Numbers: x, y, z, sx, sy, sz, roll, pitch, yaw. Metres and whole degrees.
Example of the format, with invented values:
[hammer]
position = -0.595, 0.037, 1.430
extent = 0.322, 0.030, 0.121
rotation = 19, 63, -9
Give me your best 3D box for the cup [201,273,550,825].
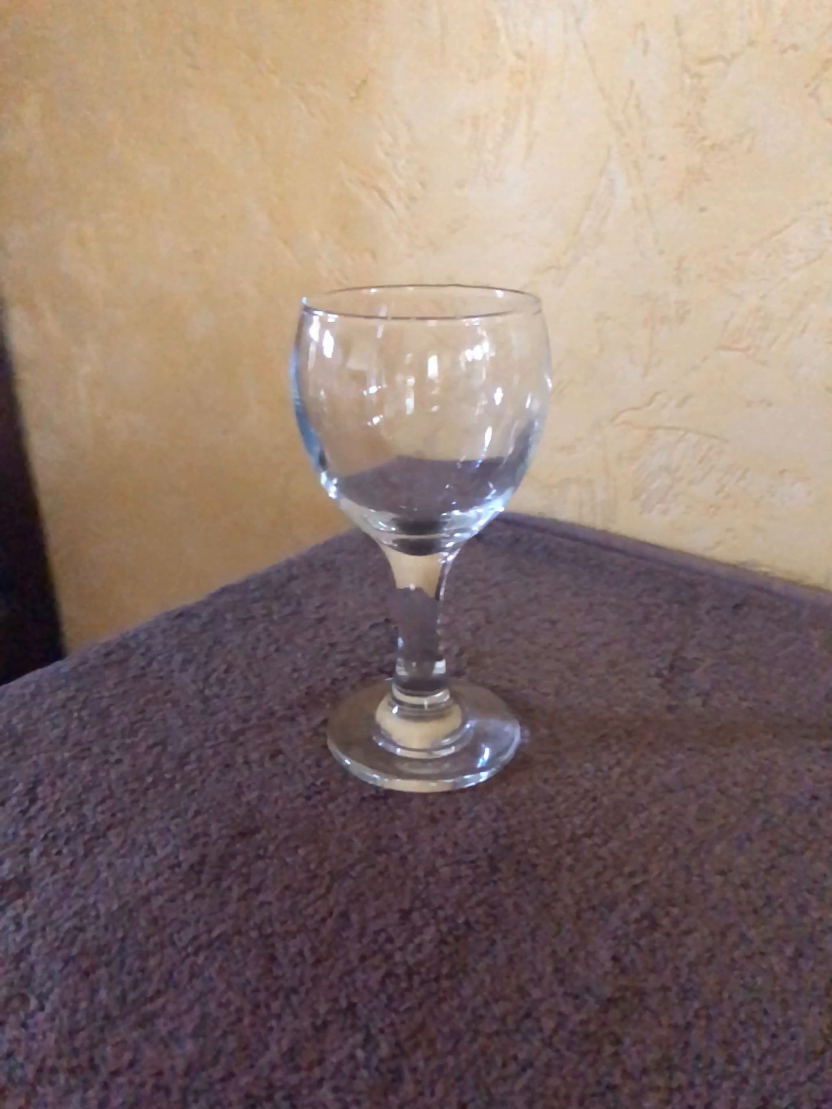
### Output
[cup]
position = -0.004, -0.006, 0.253
extent = 0.070, 0.129, 0.070
rotation = -1, 22, 0
